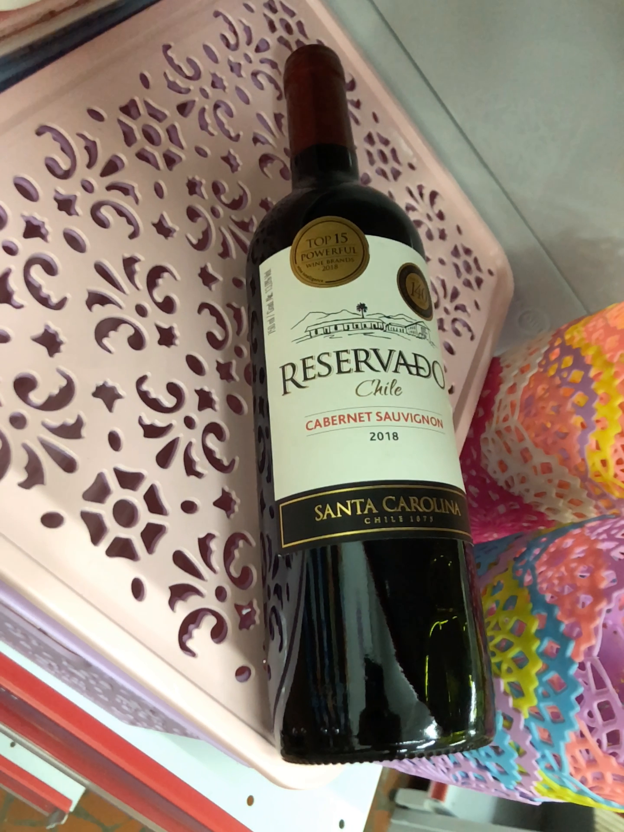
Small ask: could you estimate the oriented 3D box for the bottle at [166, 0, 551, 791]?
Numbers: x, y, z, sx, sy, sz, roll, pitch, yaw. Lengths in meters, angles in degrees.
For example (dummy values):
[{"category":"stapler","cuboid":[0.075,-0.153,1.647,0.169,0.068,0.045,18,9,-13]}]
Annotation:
[{"category":"bottle","cuboid":[0.001,-0.051,0.263,0.080,0.060,0.330,13,59,-38]}]
